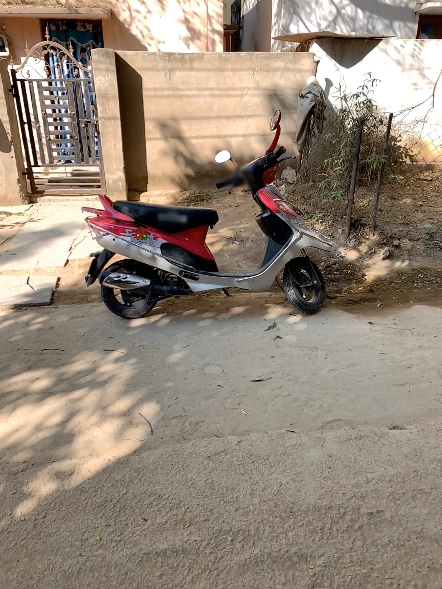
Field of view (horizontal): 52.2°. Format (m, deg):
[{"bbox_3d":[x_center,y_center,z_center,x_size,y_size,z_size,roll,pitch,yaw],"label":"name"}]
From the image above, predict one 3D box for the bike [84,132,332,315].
[{"bbox_3d":[-0.059,-0.511,3.132,1.494,1.037,0.486,-5,25,-7],"label":"bike"}]
